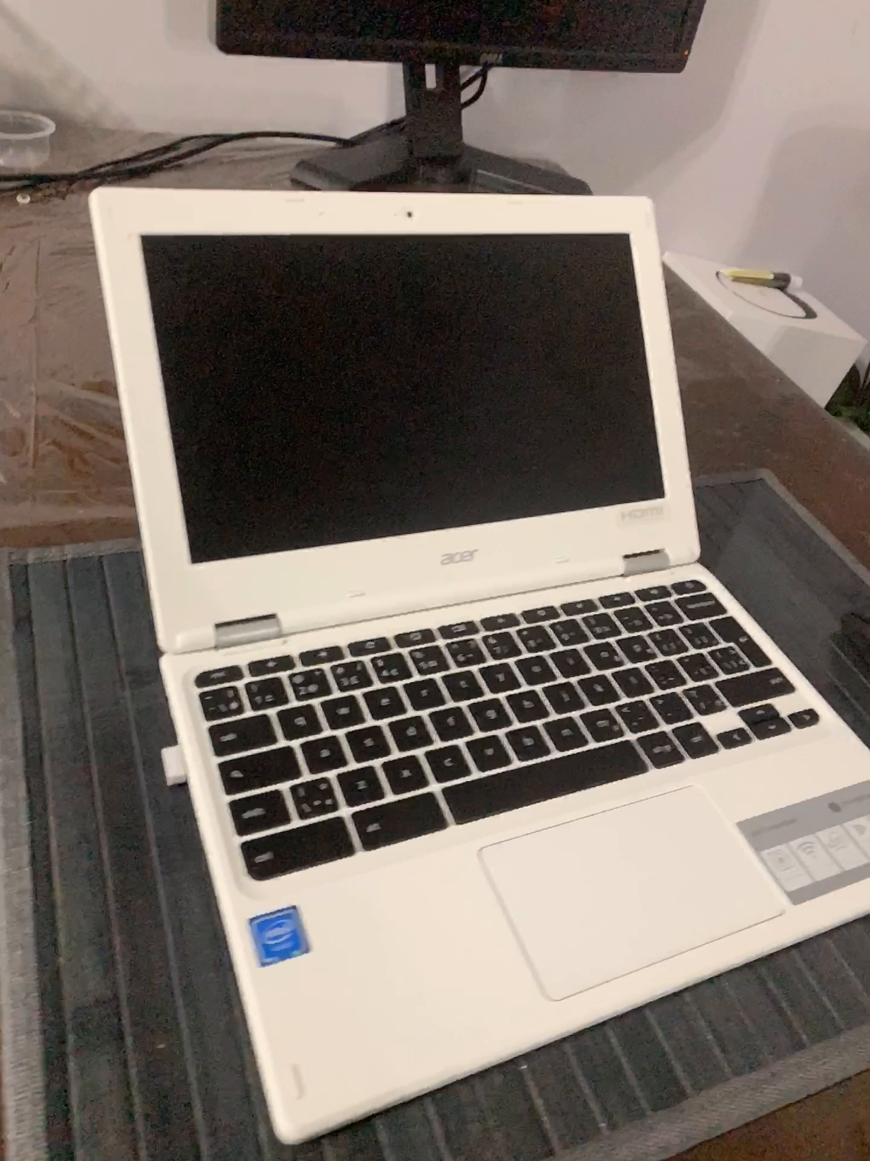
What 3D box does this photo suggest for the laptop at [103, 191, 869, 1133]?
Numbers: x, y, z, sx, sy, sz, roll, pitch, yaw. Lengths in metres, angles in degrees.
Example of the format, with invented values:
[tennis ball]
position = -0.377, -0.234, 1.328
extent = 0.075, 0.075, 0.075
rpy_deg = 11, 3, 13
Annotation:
[laptop]
position = 0.040, -0.024, 0.370
extent = 0.285, 0.142, 0.328
rpy_deg = -9, 46, -22
